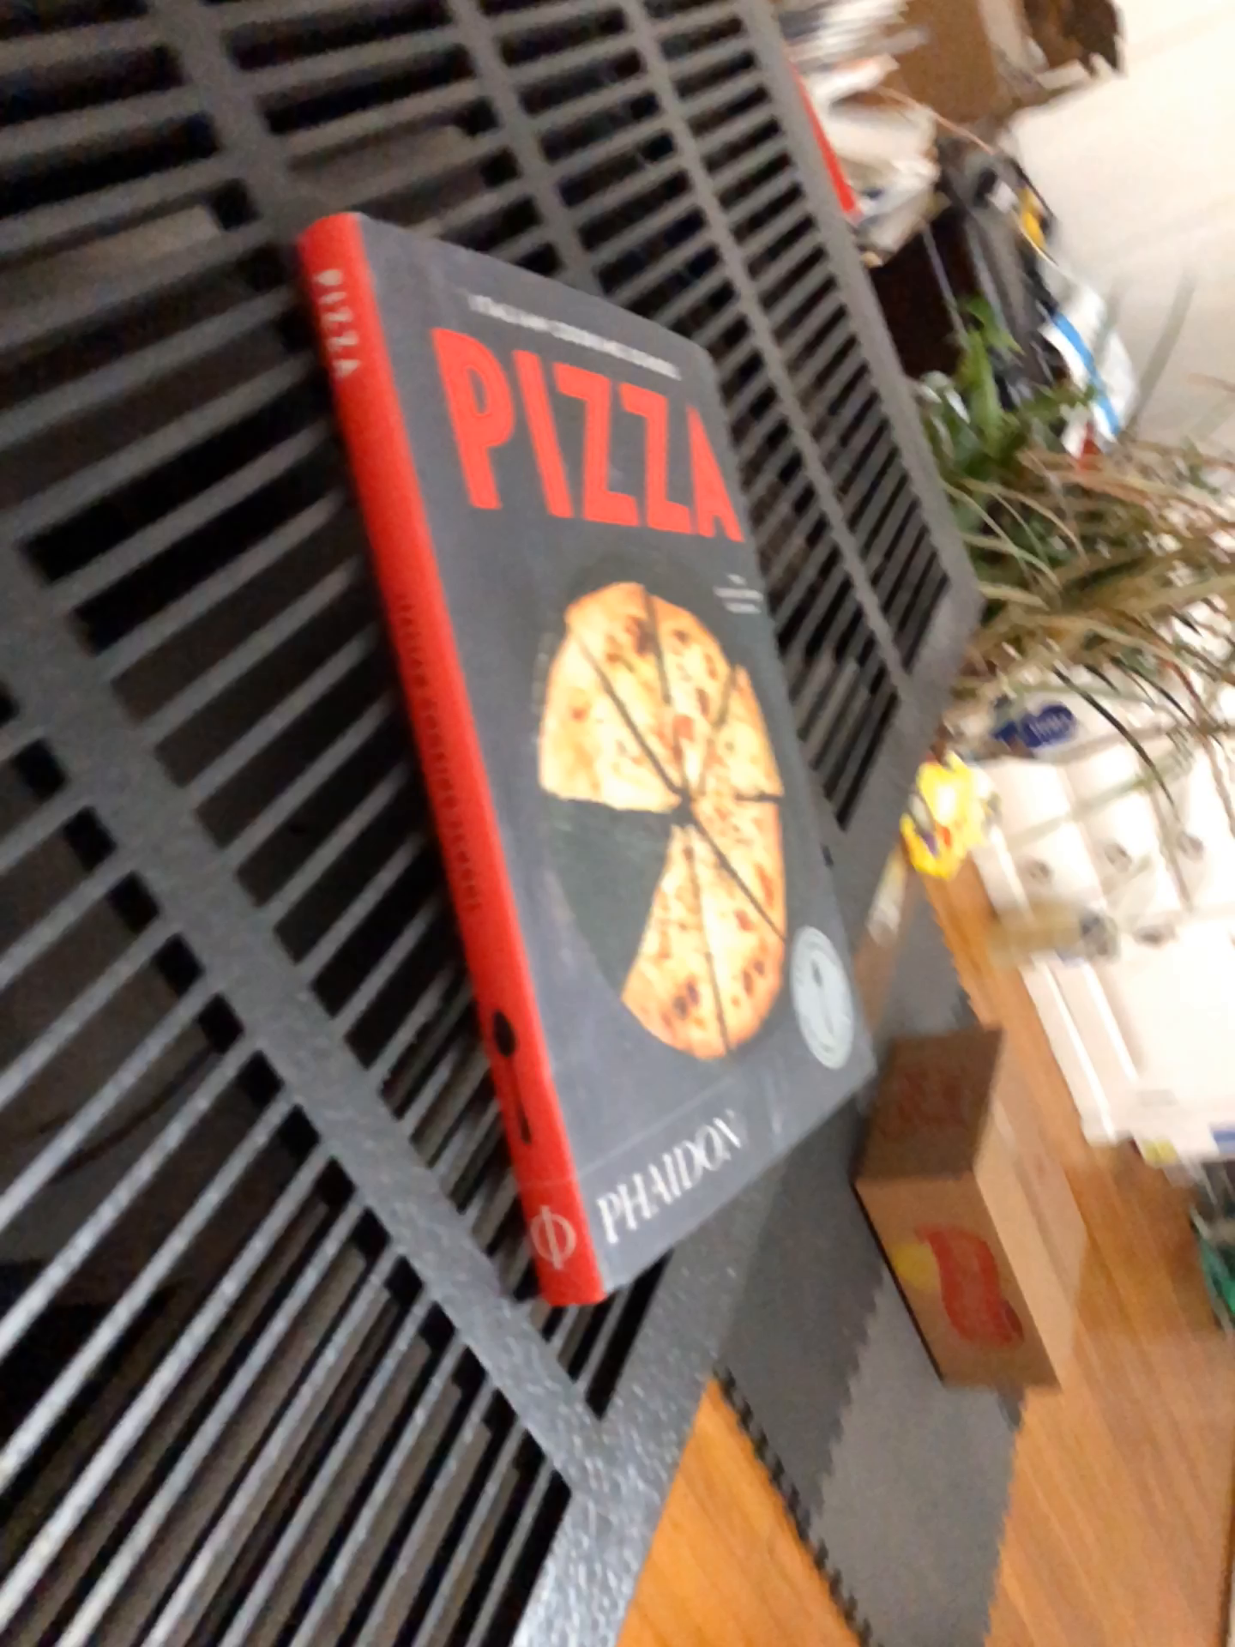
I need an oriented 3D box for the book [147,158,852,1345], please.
[{"bbox_3d":[-0.010,-0.023,0.337,0.181,0.020,0.230,-15,91,-58],"label":"book"}]
